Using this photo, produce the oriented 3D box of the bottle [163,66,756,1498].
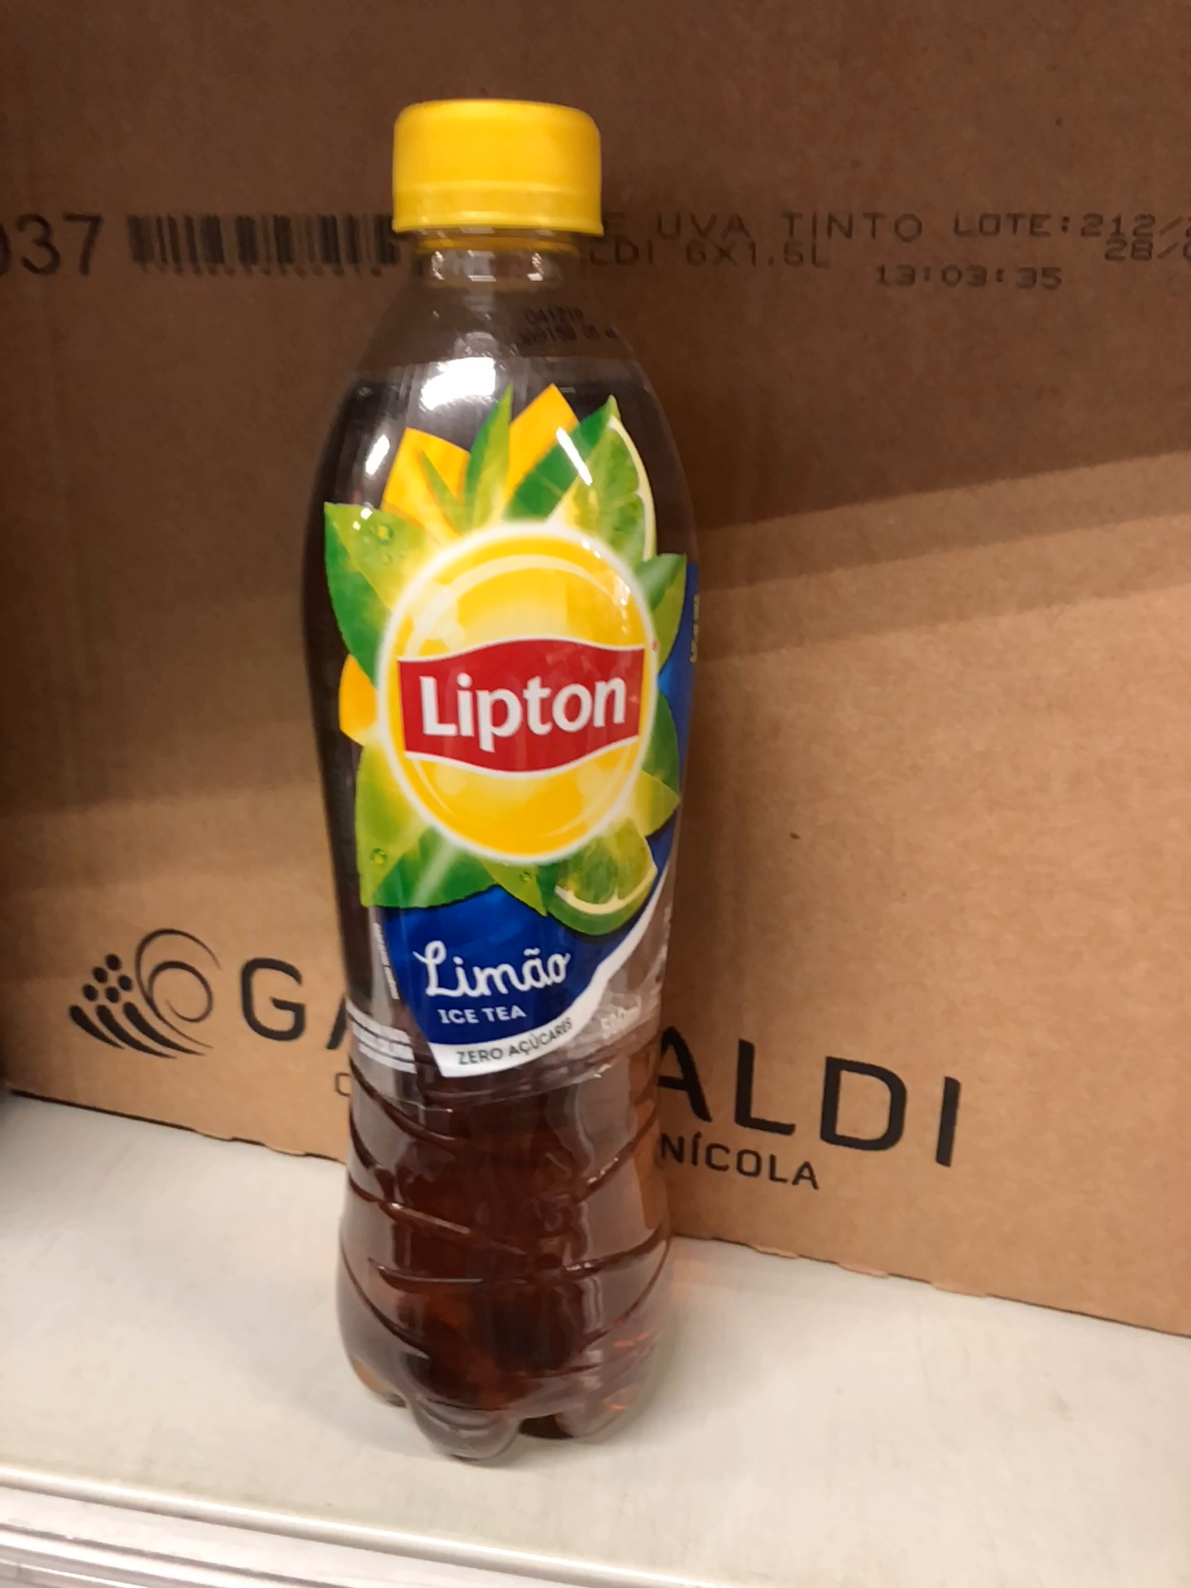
[{"bbox_3d":[-0.019,0.006,0.224,0.070,0.219,0.060,-3,21,-8],"label":"bottle"}]
